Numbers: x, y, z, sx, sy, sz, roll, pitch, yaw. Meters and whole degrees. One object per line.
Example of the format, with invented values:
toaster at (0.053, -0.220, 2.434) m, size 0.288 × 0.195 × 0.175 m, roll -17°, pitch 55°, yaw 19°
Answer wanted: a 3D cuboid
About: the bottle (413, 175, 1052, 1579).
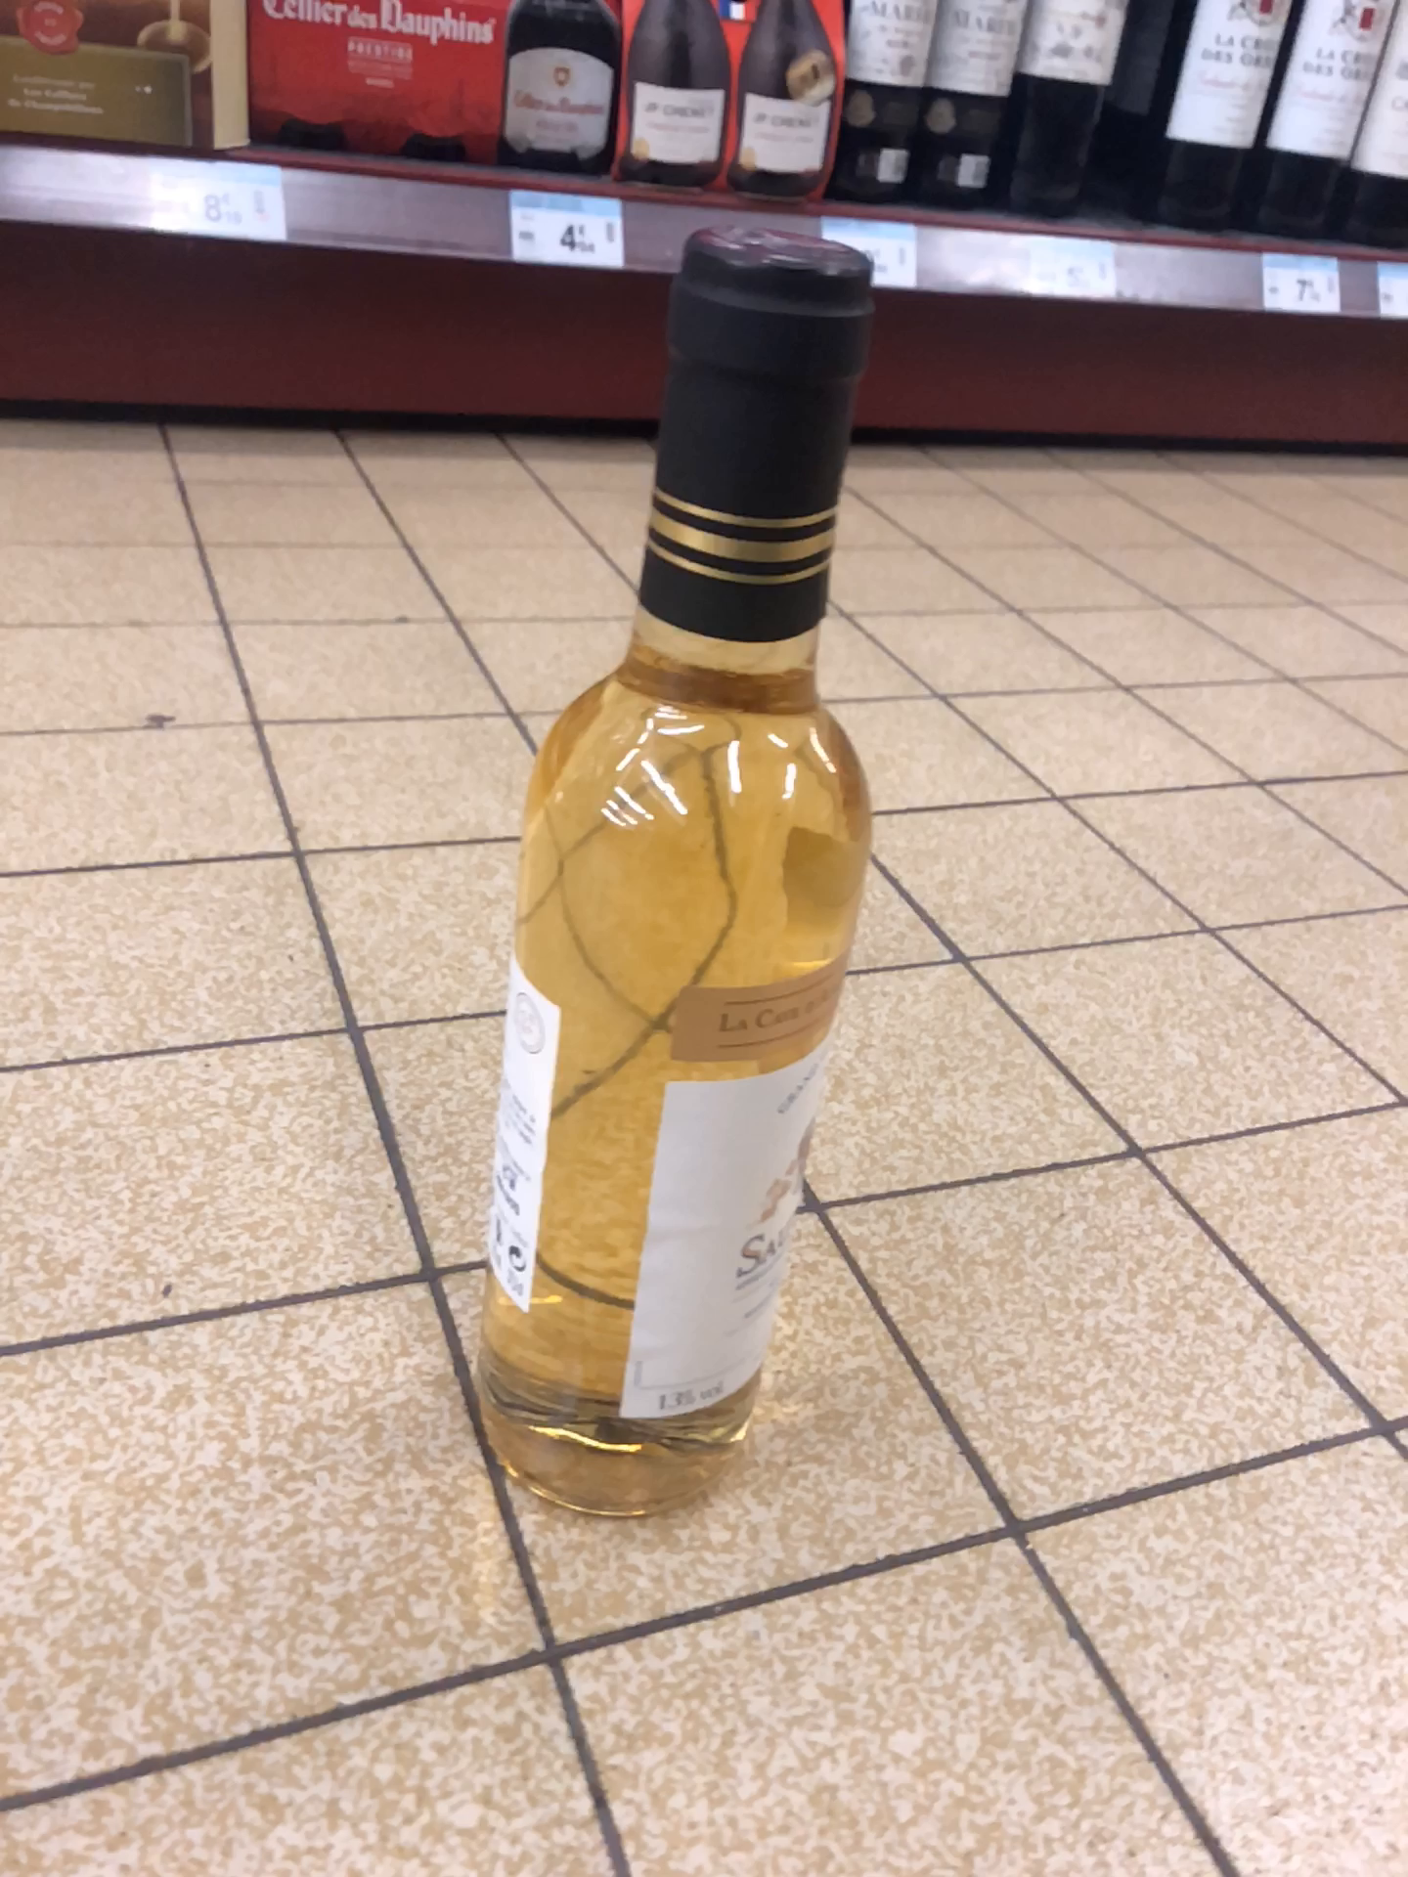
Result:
bottle at (-0.005, 0.003, 0.279) m, size 0.070 × 0.238 × 0.070 m, roll 6°, pitch 31°, yaw -4°
